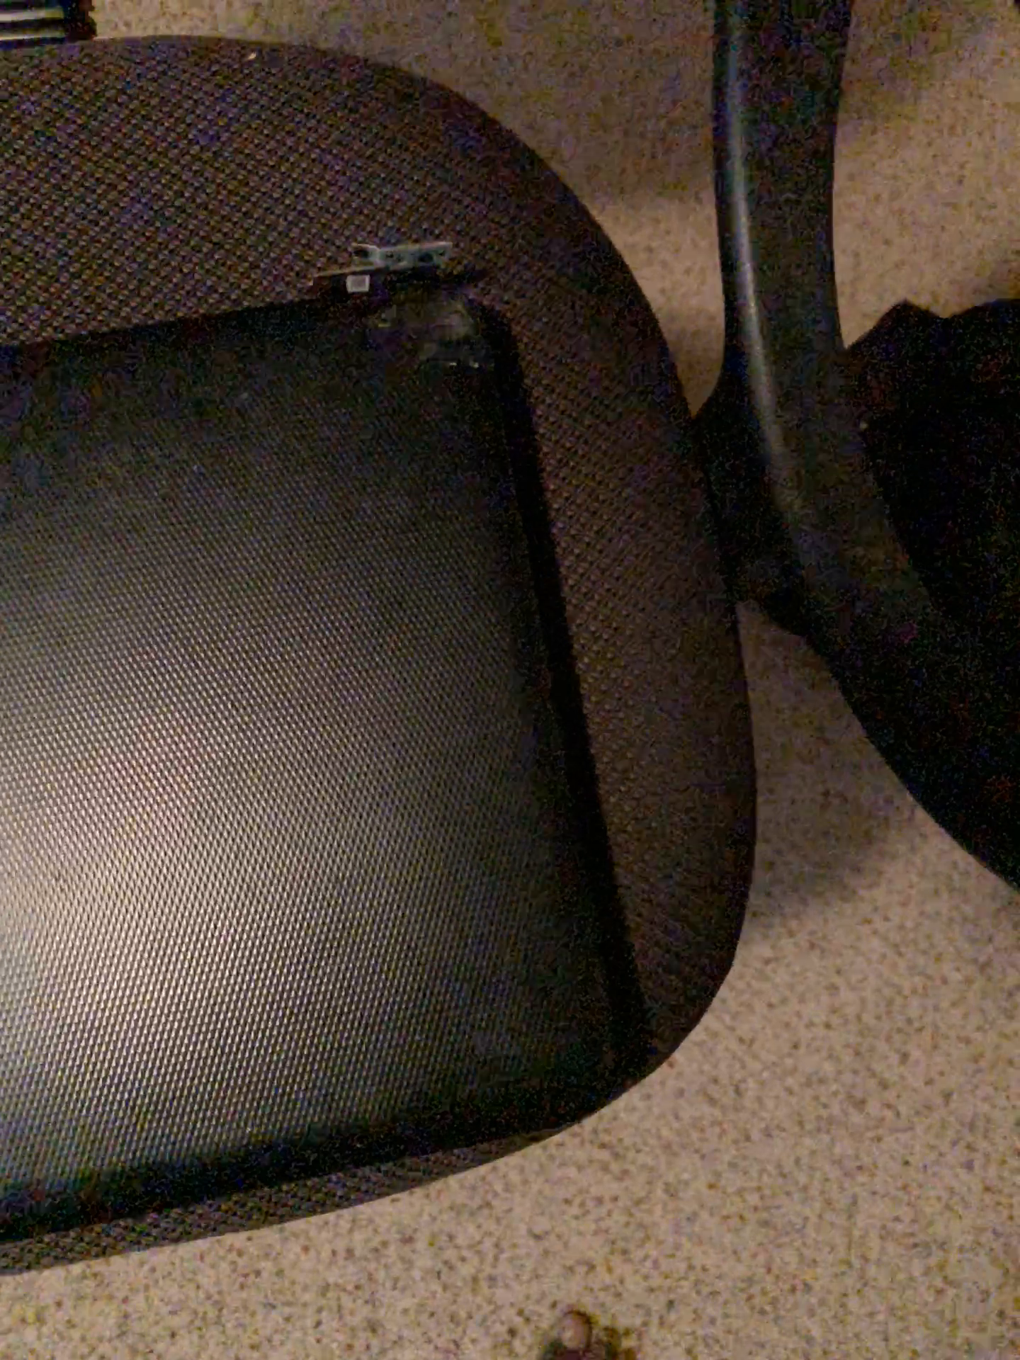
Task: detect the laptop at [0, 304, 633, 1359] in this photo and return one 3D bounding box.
[{"bbox_3d":[-0.169,0.032,0.311,0.378,0.018,0.244,-10,85,-8],"label":"laptop"}]
